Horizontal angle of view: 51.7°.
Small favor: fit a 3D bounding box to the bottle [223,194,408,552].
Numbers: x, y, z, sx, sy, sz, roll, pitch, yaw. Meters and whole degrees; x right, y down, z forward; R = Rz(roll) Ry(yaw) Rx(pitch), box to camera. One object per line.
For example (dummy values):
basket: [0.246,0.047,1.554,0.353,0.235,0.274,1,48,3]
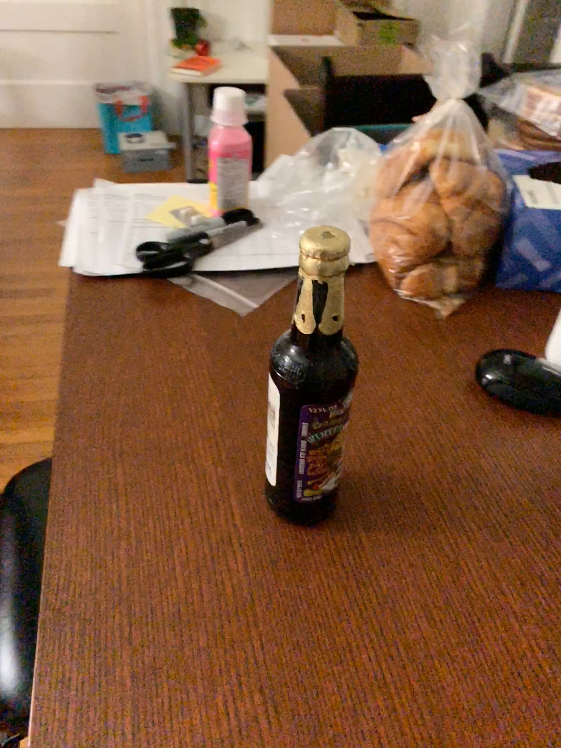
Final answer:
bottle: [0.012,0.011,0.383,0.070,0.229,0.070,2,41,-2]
